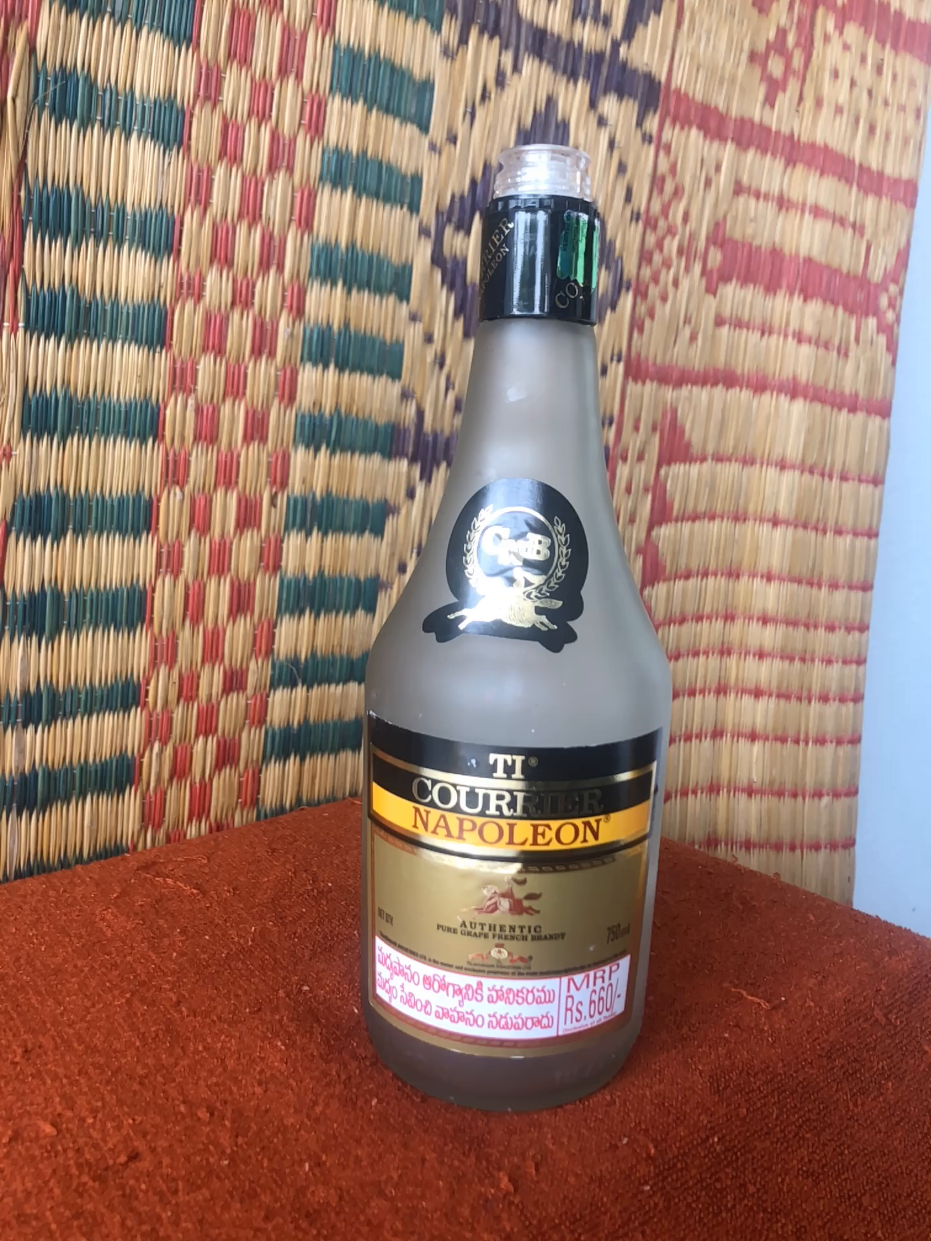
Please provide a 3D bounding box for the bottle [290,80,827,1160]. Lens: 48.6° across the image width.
[{"bbox_3d":[0.021,0.000,0.289,0.100,0.249,0.090,7,10,7],"label":"bottle"}]
